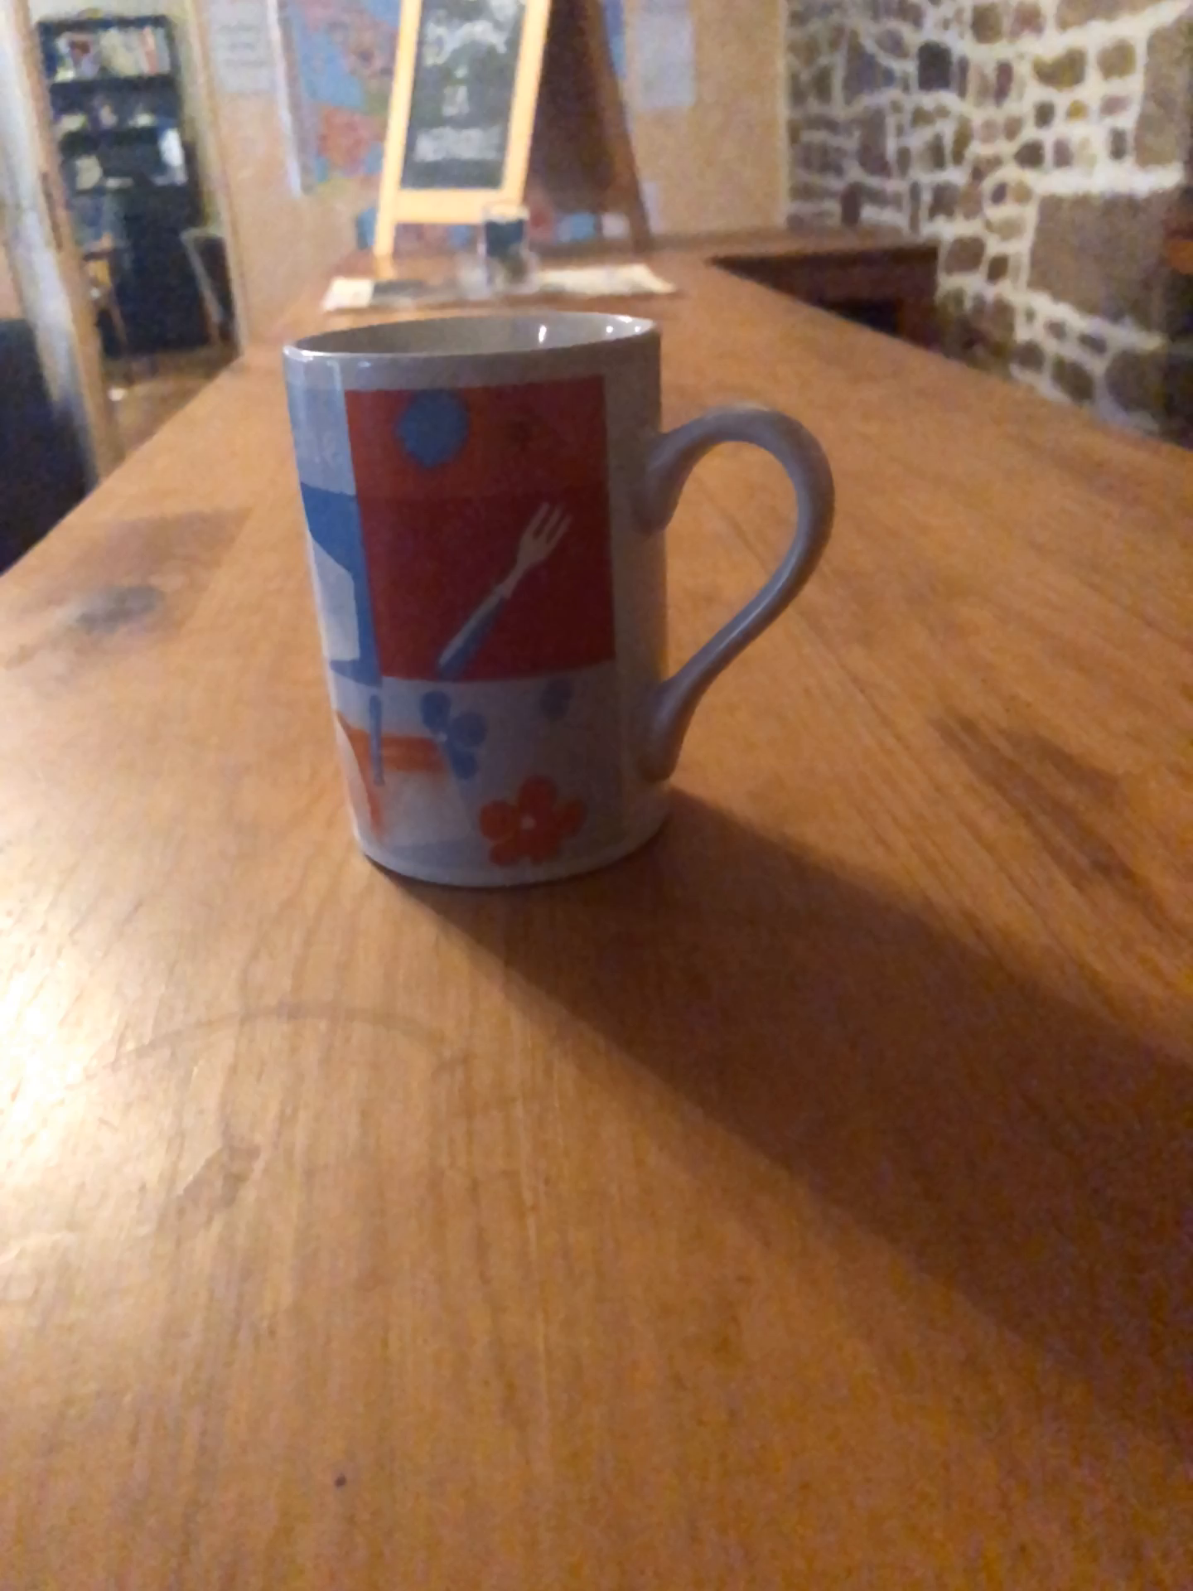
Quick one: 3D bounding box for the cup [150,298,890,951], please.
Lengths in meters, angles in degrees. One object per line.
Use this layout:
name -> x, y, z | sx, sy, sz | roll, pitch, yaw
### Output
cup -> -0.008, -0.042, 0.264 | 0.112, 0.099, 0.080 | 8, 28, 23
